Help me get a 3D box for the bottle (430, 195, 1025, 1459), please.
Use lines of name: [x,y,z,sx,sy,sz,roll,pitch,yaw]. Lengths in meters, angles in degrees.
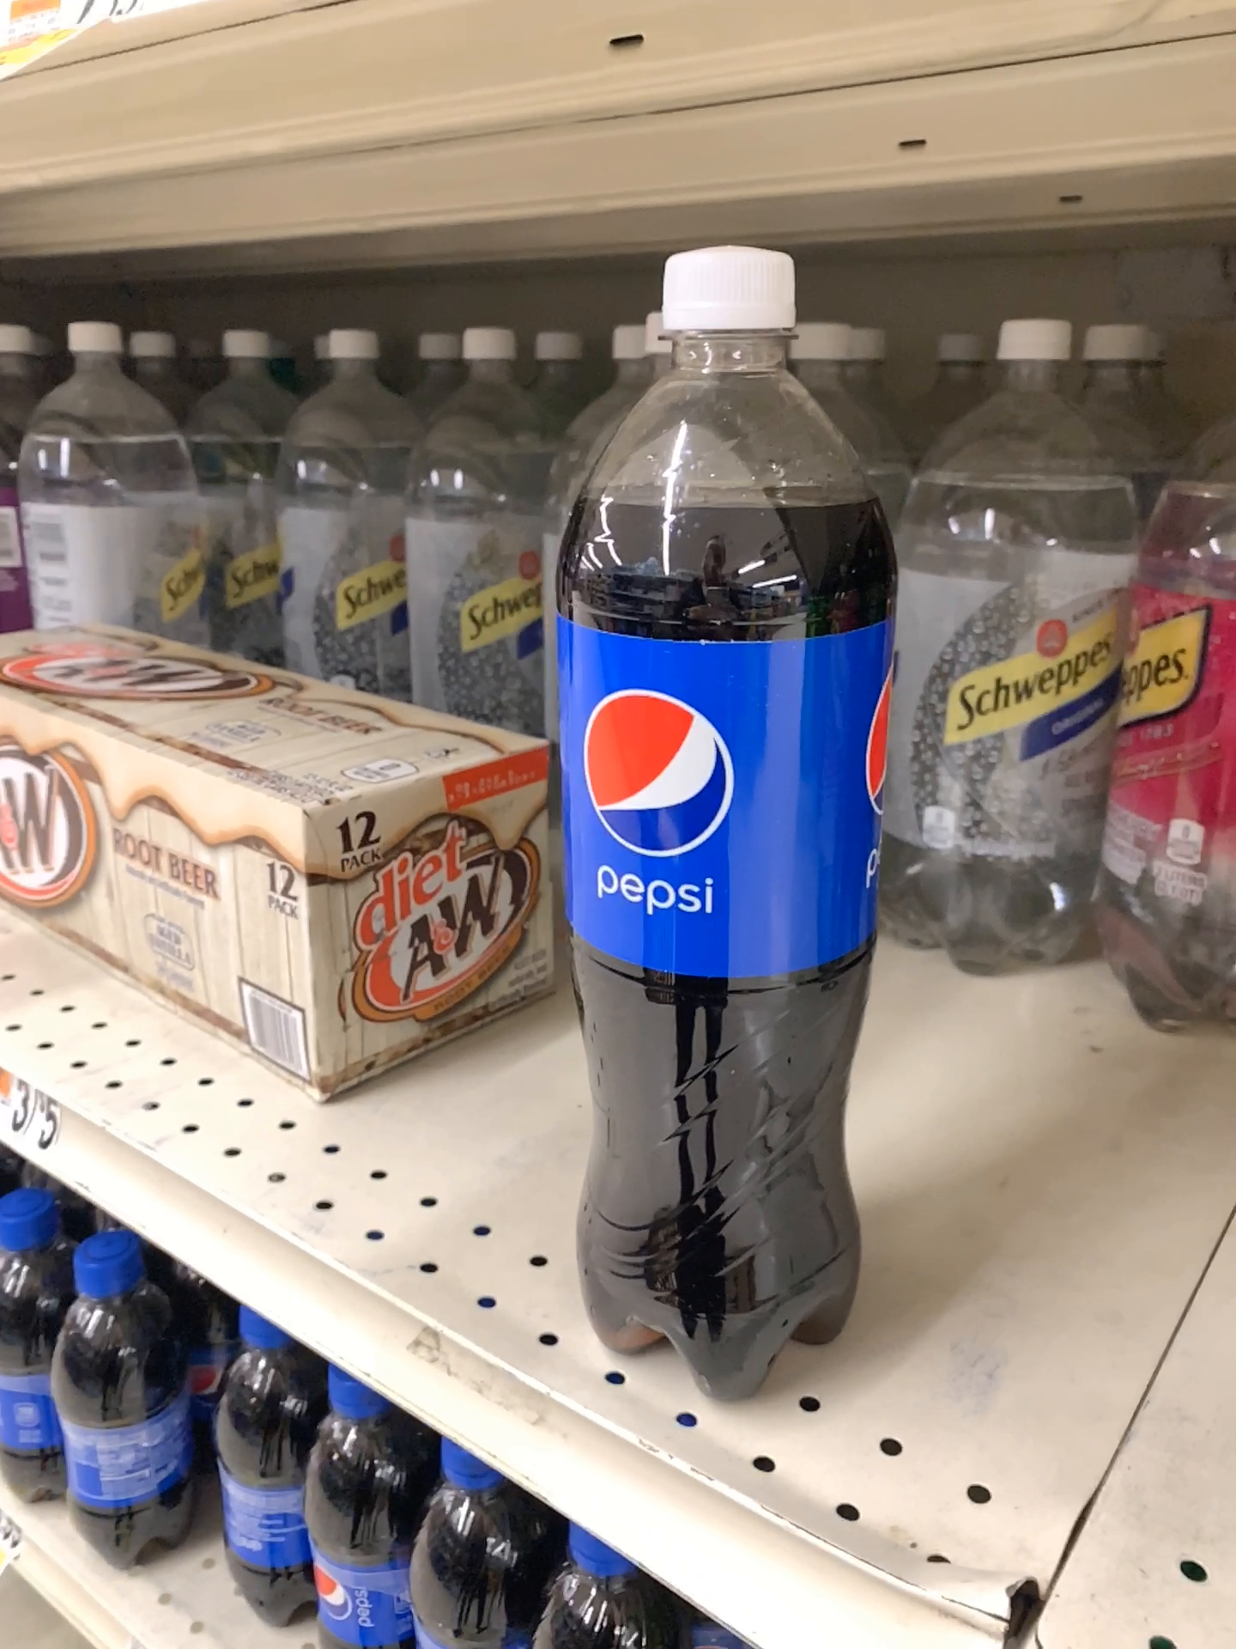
bottle: [0.025,0.001,0.329,0.101,0.279,0.090,13,22,33]
